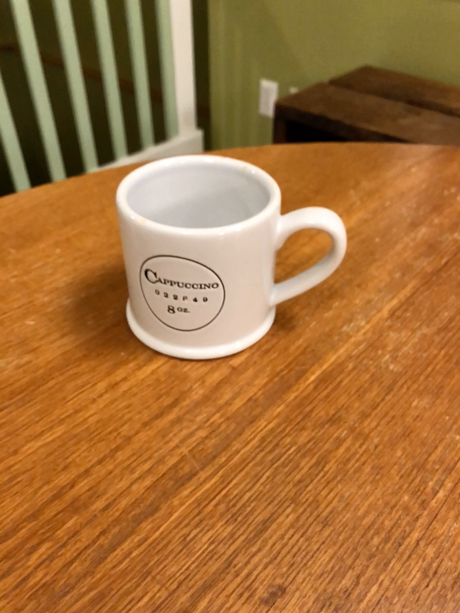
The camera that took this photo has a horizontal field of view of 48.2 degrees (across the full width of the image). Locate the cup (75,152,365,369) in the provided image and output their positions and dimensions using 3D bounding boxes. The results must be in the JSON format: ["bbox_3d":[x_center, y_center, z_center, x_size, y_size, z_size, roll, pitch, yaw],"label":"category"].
[{"bbox_3d":[-0.002,-0.029,0.299,0.135,0.082,0.090,3,40,4],"label":"cup"}]
